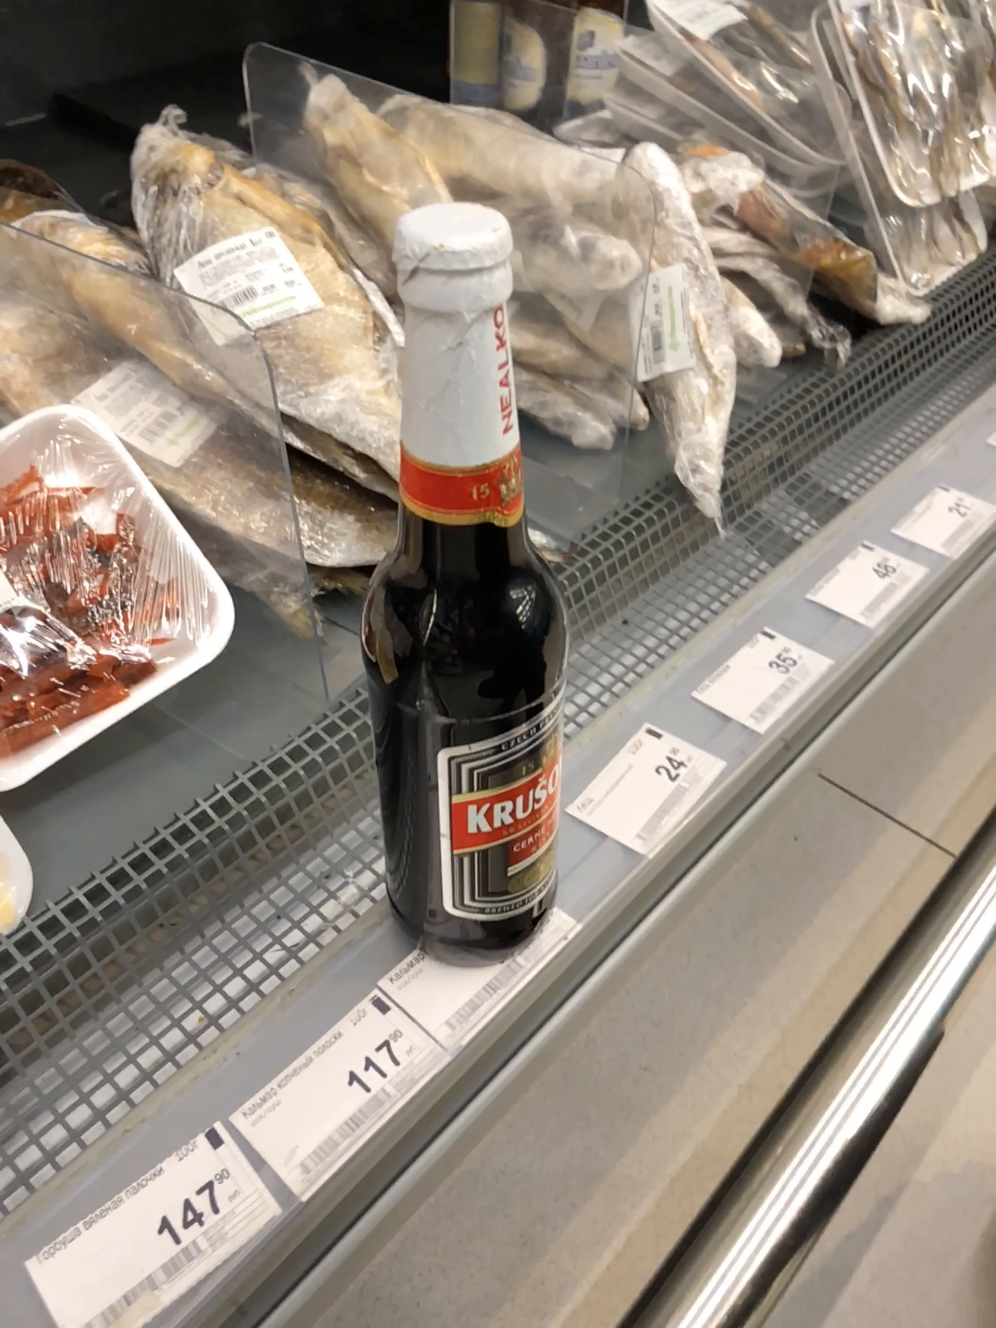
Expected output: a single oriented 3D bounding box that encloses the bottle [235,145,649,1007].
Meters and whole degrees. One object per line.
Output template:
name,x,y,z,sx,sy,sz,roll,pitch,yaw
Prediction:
bottle,-0.013,-0.008,0.351,0.070,0.268,0.070,0,42,0
